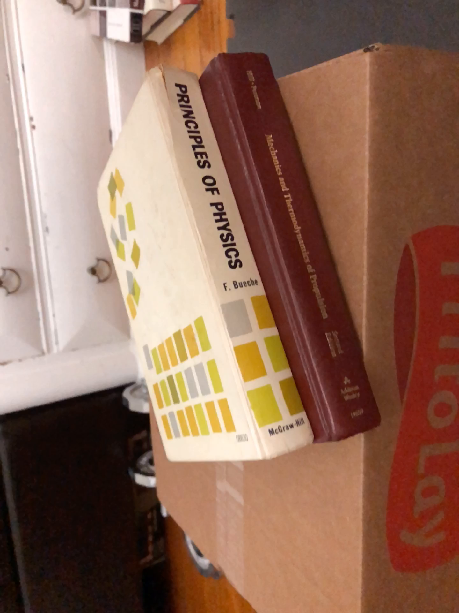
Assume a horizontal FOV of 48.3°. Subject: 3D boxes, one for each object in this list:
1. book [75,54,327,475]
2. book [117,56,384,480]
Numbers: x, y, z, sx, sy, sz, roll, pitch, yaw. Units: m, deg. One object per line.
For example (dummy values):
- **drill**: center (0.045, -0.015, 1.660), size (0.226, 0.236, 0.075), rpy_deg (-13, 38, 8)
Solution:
- **book**: center (-0.041, -0.010, 0.370), size (0.181, 0.040, 0.250), rpy_deg (-31, 74, 58)
- **book**: center (-0.005, -0.010, 0.374), size (0.181, 0.040, 0.250), rpy_deg (-26, 79, 58)
